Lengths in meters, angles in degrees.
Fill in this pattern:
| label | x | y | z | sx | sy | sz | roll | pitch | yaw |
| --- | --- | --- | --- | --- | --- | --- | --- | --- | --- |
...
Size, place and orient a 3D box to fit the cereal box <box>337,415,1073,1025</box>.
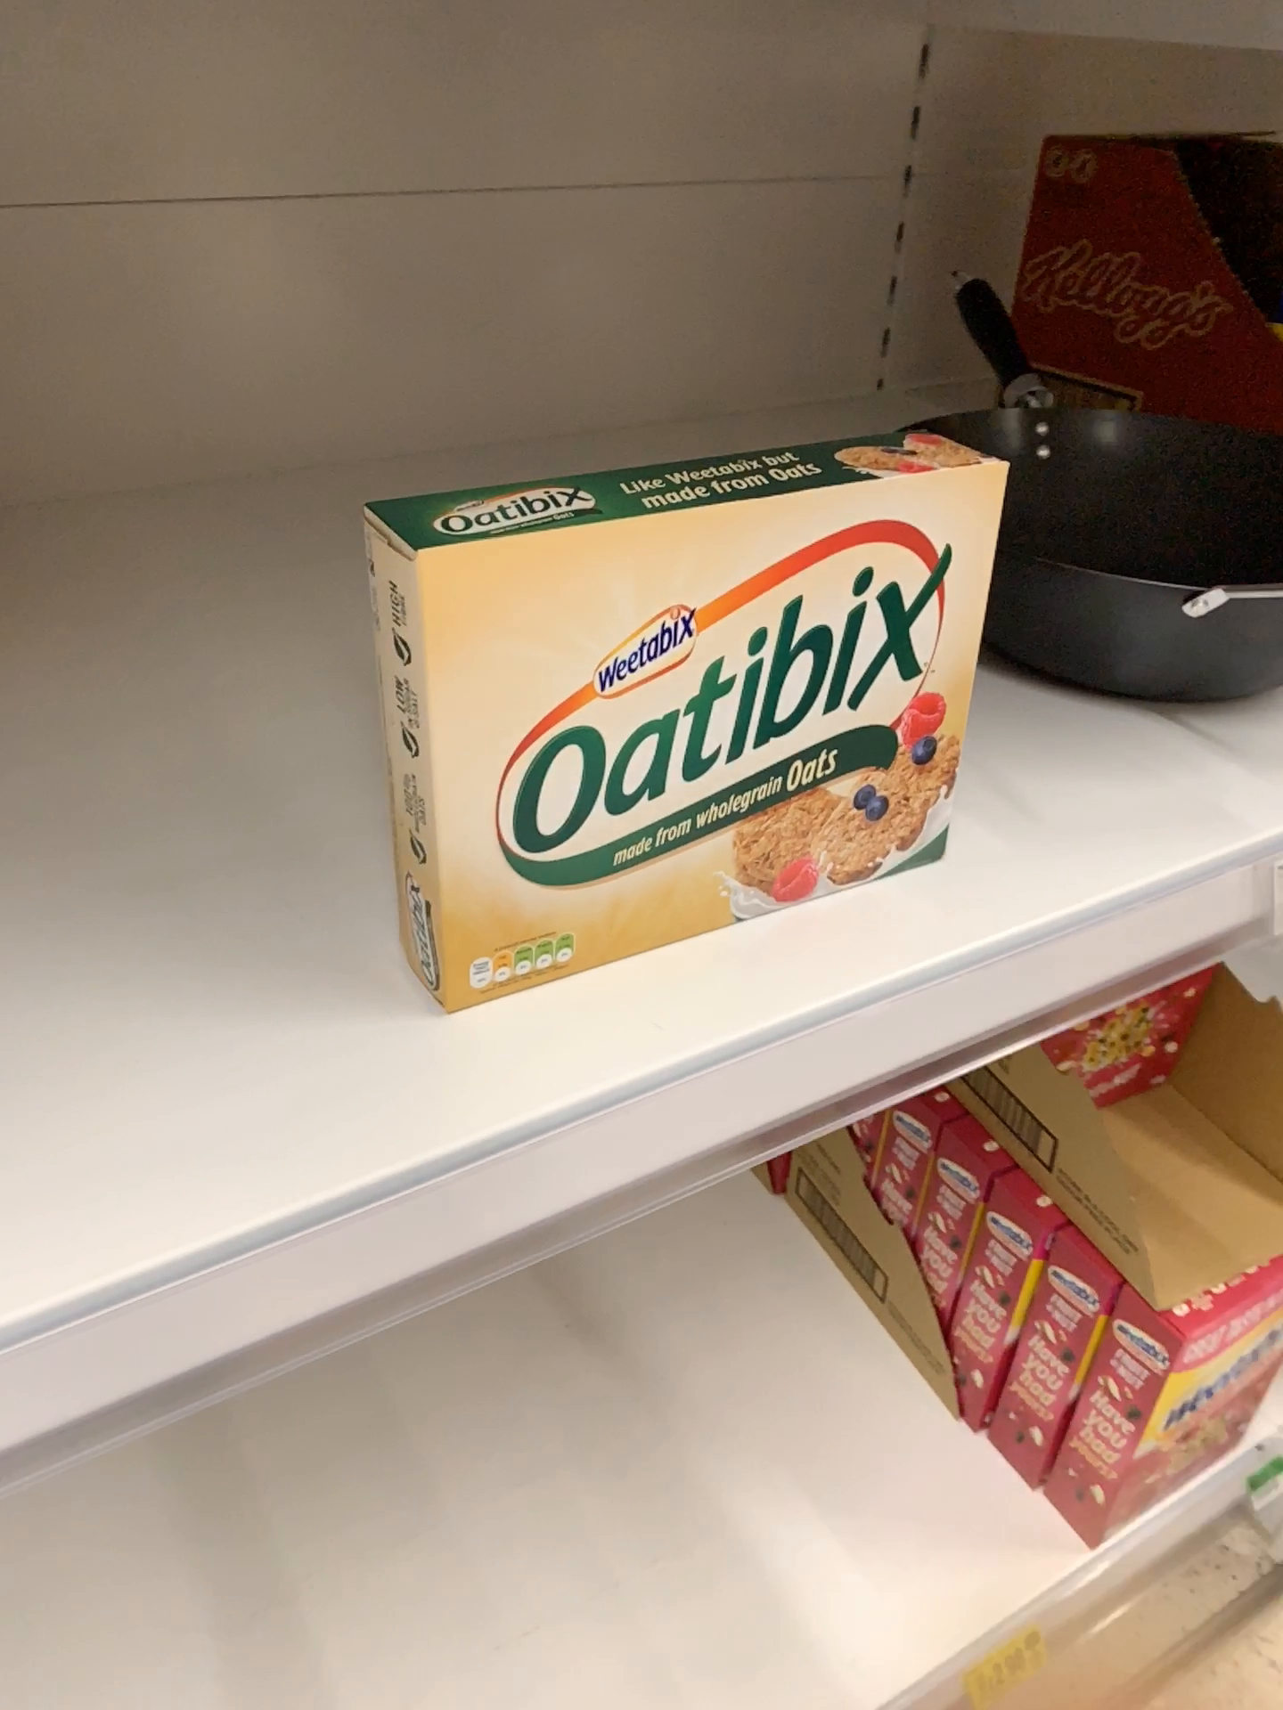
| label | x | y | z | sx | sy | sz | roll | pitch | yaw |
| --- | --- | --- | --- | --- | --- | --- | --- | --- | --- |
| cereal box | 0.029 | -0.062 | 0.524 | 0.271 | 0.178 | 0.070 | -16 | 37 | -26 |
